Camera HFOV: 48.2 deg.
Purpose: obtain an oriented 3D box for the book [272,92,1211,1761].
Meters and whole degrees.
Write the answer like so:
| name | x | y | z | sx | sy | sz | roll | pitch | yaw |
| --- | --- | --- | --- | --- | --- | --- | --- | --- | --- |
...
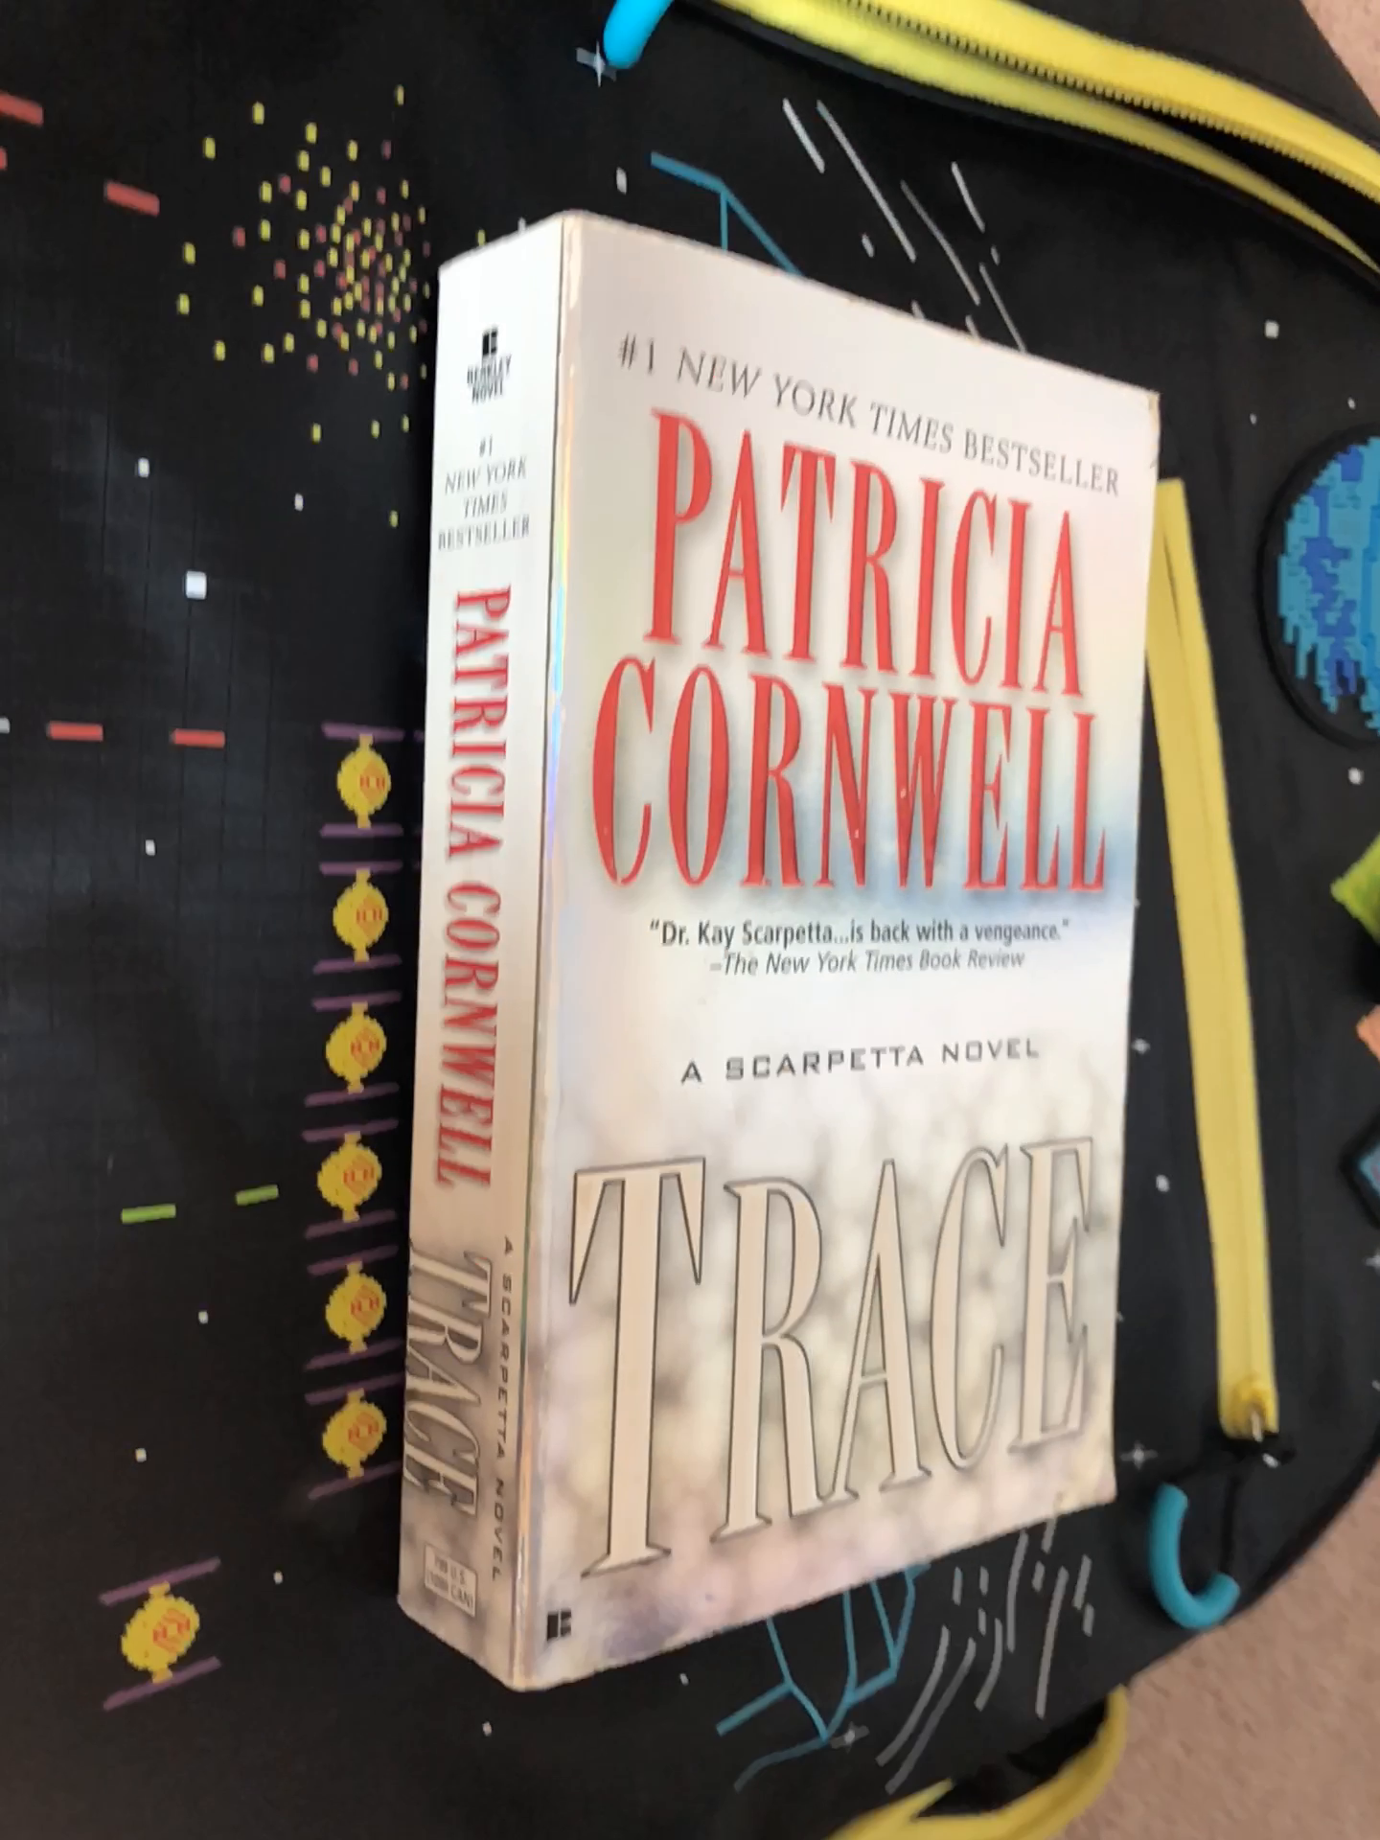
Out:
| name | x | y | z | sx | sy | sz | roll | pitch | yaw |
| --- | --- | --- | --- | --- | --- | --- | --- | --- | --- |
| book | 0.011 | 0.001 | 0.207 | 0.120 | 0.040 | 0.170 | 0 | 93 | -34 |
